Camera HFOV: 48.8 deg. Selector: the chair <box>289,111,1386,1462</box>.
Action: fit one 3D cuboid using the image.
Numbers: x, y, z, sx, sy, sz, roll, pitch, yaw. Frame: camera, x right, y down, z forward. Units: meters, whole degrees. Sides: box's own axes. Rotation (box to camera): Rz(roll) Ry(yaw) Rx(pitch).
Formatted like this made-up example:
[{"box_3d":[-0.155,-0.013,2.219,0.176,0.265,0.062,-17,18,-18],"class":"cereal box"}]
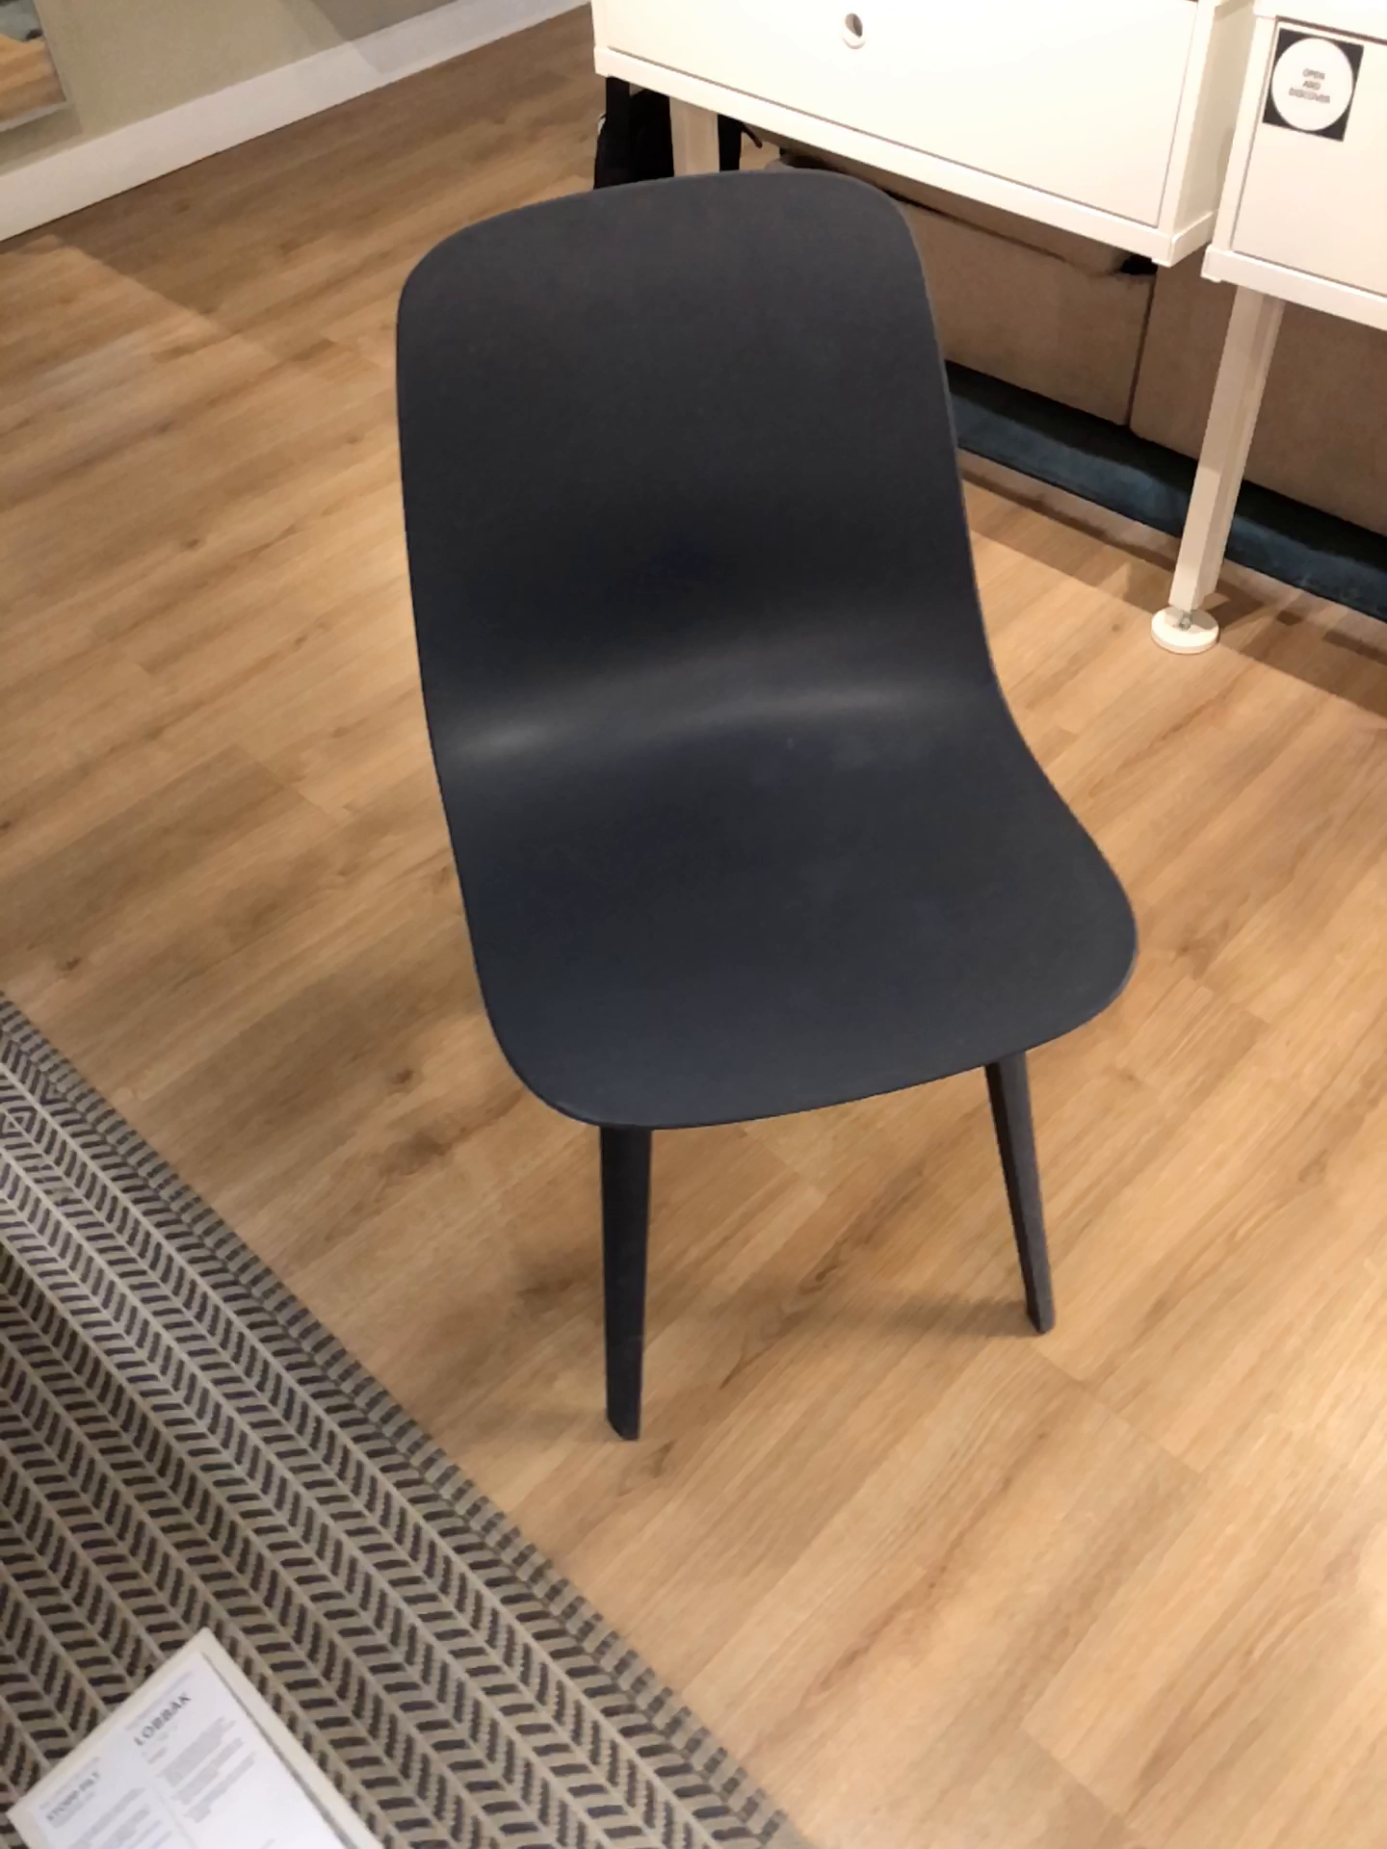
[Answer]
[{"box_3d":[0.046,-0.077,1.127,0.470,0.728,0.562,-12,48,-7],"class":"chair"}]
